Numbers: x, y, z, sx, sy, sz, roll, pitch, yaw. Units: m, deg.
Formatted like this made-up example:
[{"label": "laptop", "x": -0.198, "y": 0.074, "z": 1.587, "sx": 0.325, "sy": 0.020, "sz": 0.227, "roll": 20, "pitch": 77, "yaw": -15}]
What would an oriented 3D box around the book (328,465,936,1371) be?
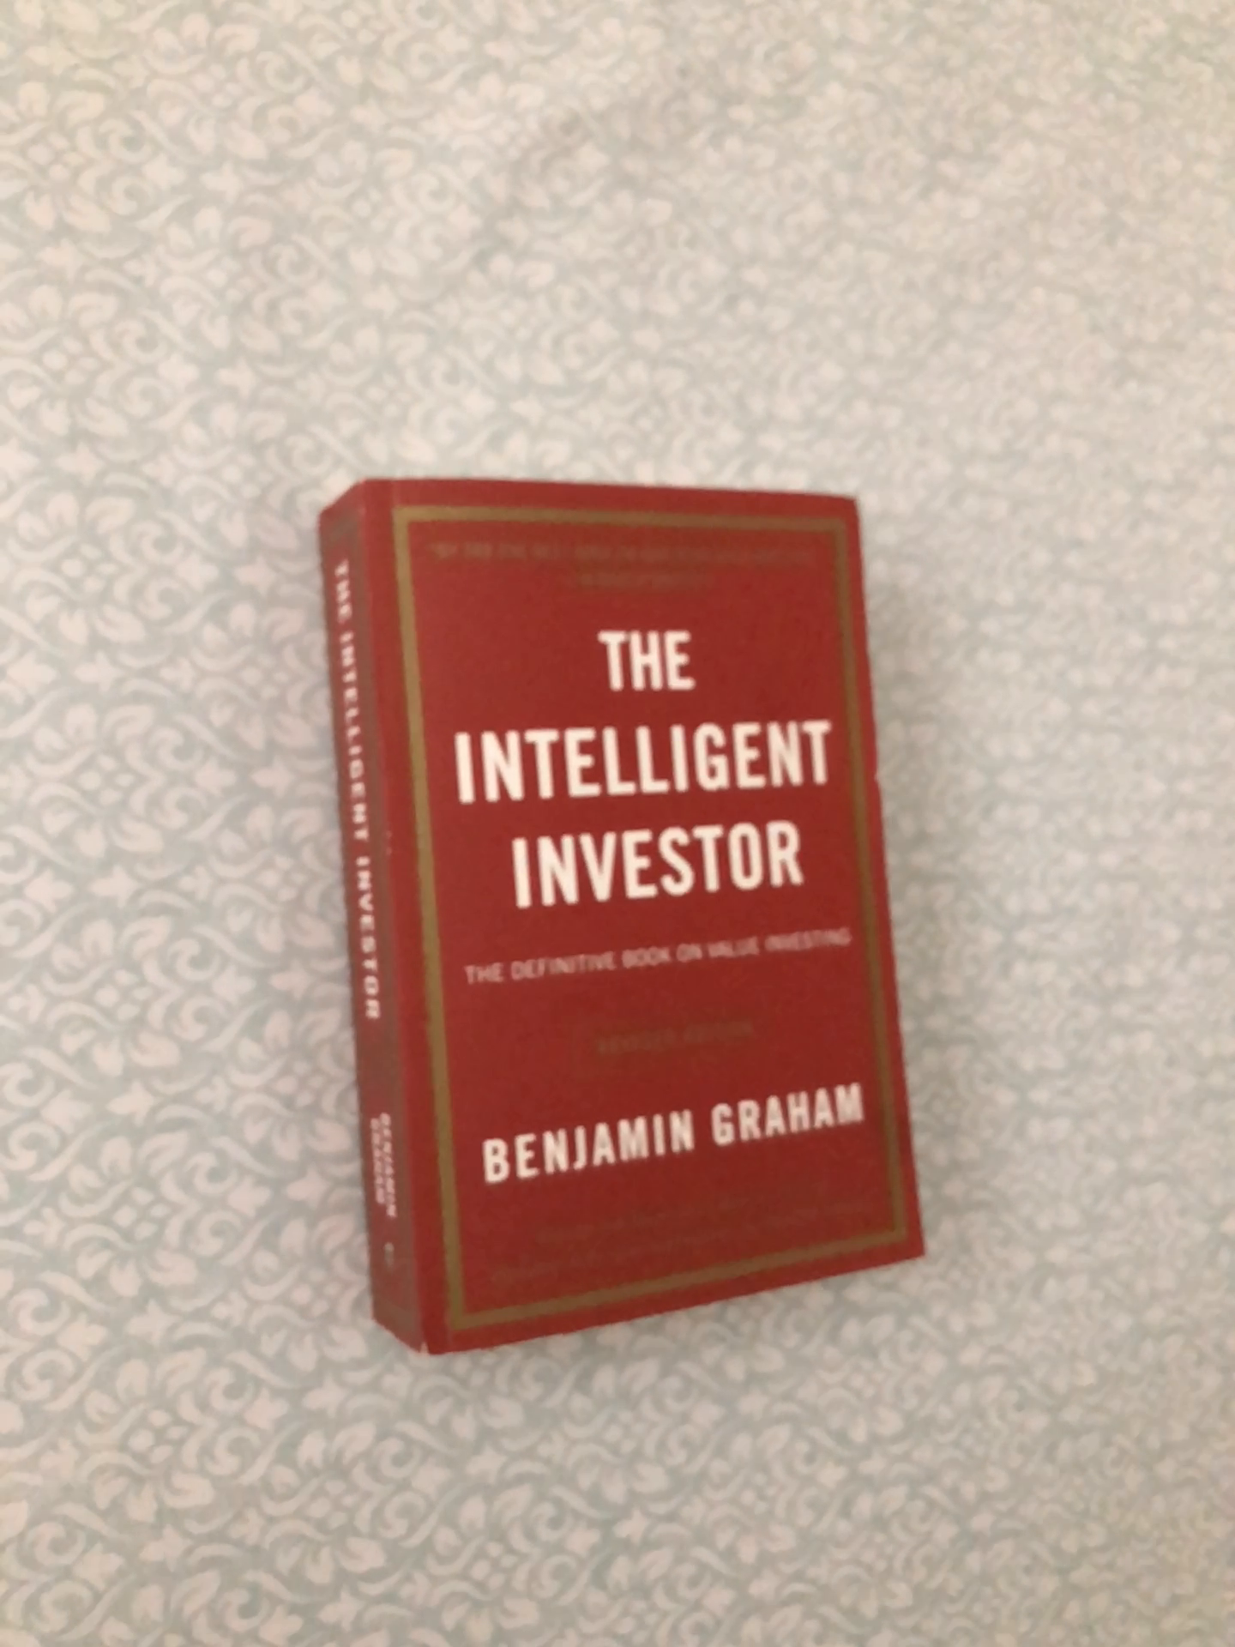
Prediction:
[{"label": "book", "x": 0.004, "y": 0.017, "z": 0.355, "sx": 0.130, "sy": 0.050, "sz": 0.200, "roll": -4, "pitch": 88, "yaw": -23}]
